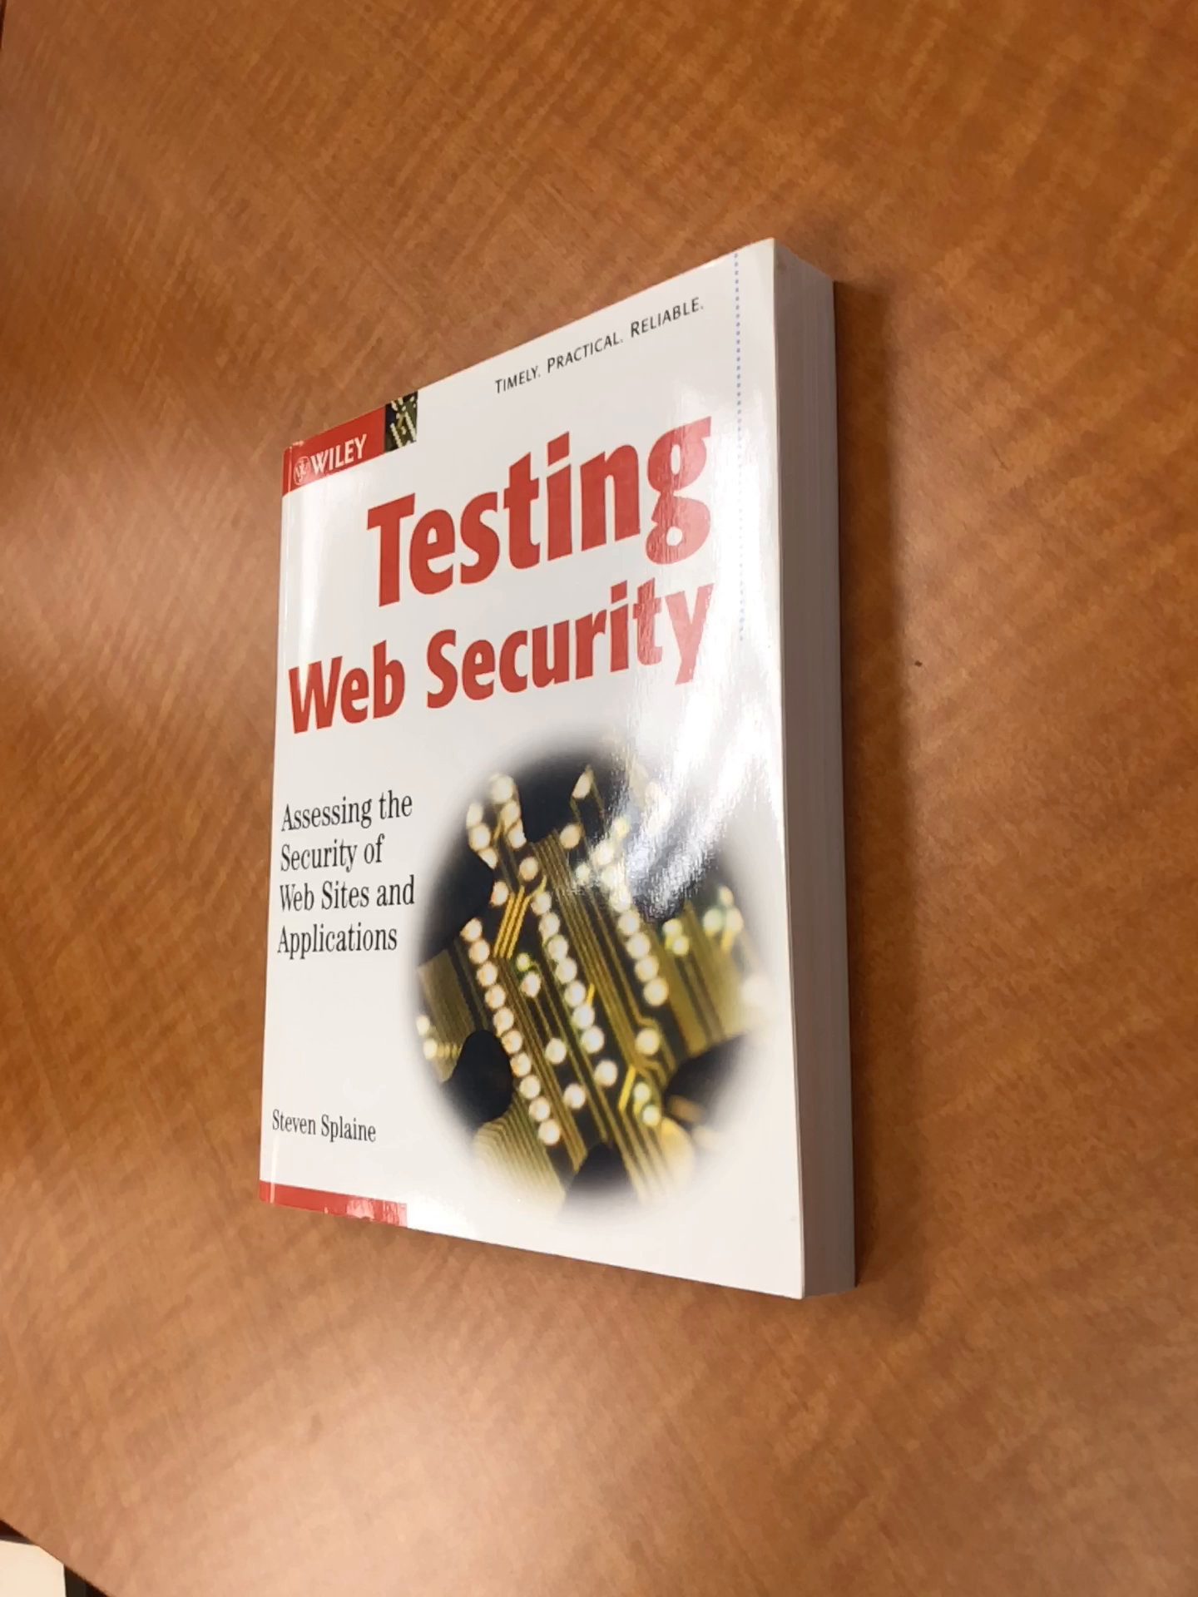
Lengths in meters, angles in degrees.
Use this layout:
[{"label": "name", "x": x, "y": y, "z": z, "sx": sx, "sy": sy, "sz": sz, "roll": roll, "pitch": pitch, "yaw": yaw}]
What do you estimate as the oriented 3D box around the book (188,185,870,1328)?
[{"label": "book", "x": -0.030, "y": -0.005, "z": 0.338, "sx": 0.201, "sy": 0.030, "sz": 0.230, "roll": -7, "pitch": 79, "yaw": 40}]
